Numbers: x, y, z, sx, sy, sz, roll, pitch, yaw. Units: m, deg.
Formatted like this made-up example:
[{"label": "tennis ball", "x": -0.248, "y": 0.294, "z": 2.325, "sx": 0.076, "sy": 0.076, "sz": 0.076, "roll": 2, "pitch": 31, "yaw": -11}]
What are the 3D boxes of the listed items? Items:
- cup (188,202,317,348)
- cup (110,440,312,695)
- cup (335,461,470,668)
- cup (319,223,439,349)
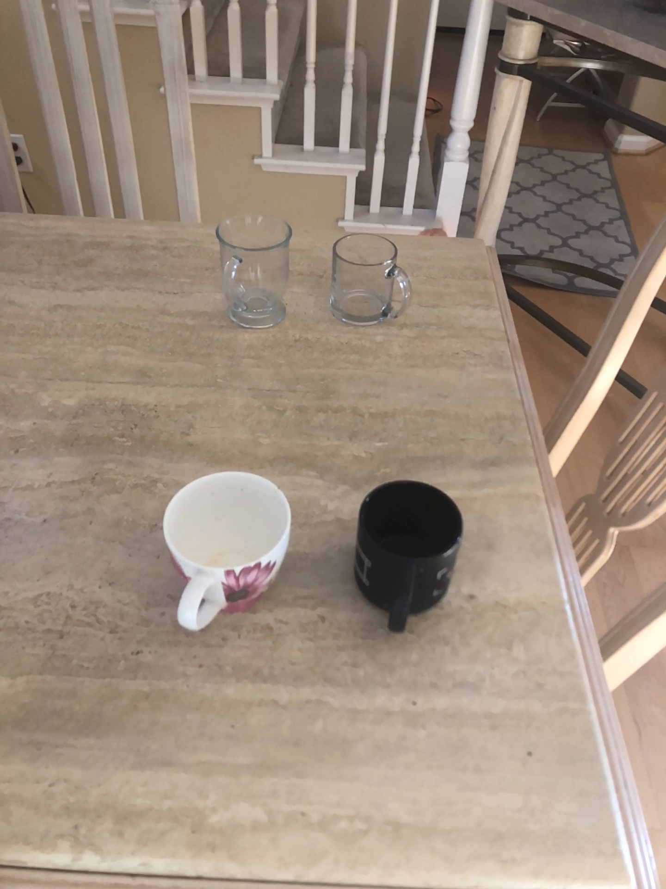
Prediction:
[{"label": "cup", "x": -0.101, "y": -0.226, "z": 0.962, "sx": 0.110, "sy": 0.109, "sz": 0.151, "roll": 15, "pitch": 45, "yaw": 12}, {"label": "cup", "x": -0.094, "y": 0.100, "z": 0.627, "sx": 0.100, "sy": 0.099, "sz": 0.172, "roll": 14, "pitch": 45, "yaw": 11}, {"label": "cup", "x": 0.063, "y": 0.107, "z": 0.663, "sx": 0.090, "sy": 0.109, "sz": 0.131, "roll": 11, "pitch": 44, "yaw": 8}, {"label": "cup", "x": 0.062, "y": -0.219, "z": 1.007, "sx": 0.130, "sy": 0.109, "sz": 0.091, "roll": 23, "pitch": 47, "yaw": 19}]
